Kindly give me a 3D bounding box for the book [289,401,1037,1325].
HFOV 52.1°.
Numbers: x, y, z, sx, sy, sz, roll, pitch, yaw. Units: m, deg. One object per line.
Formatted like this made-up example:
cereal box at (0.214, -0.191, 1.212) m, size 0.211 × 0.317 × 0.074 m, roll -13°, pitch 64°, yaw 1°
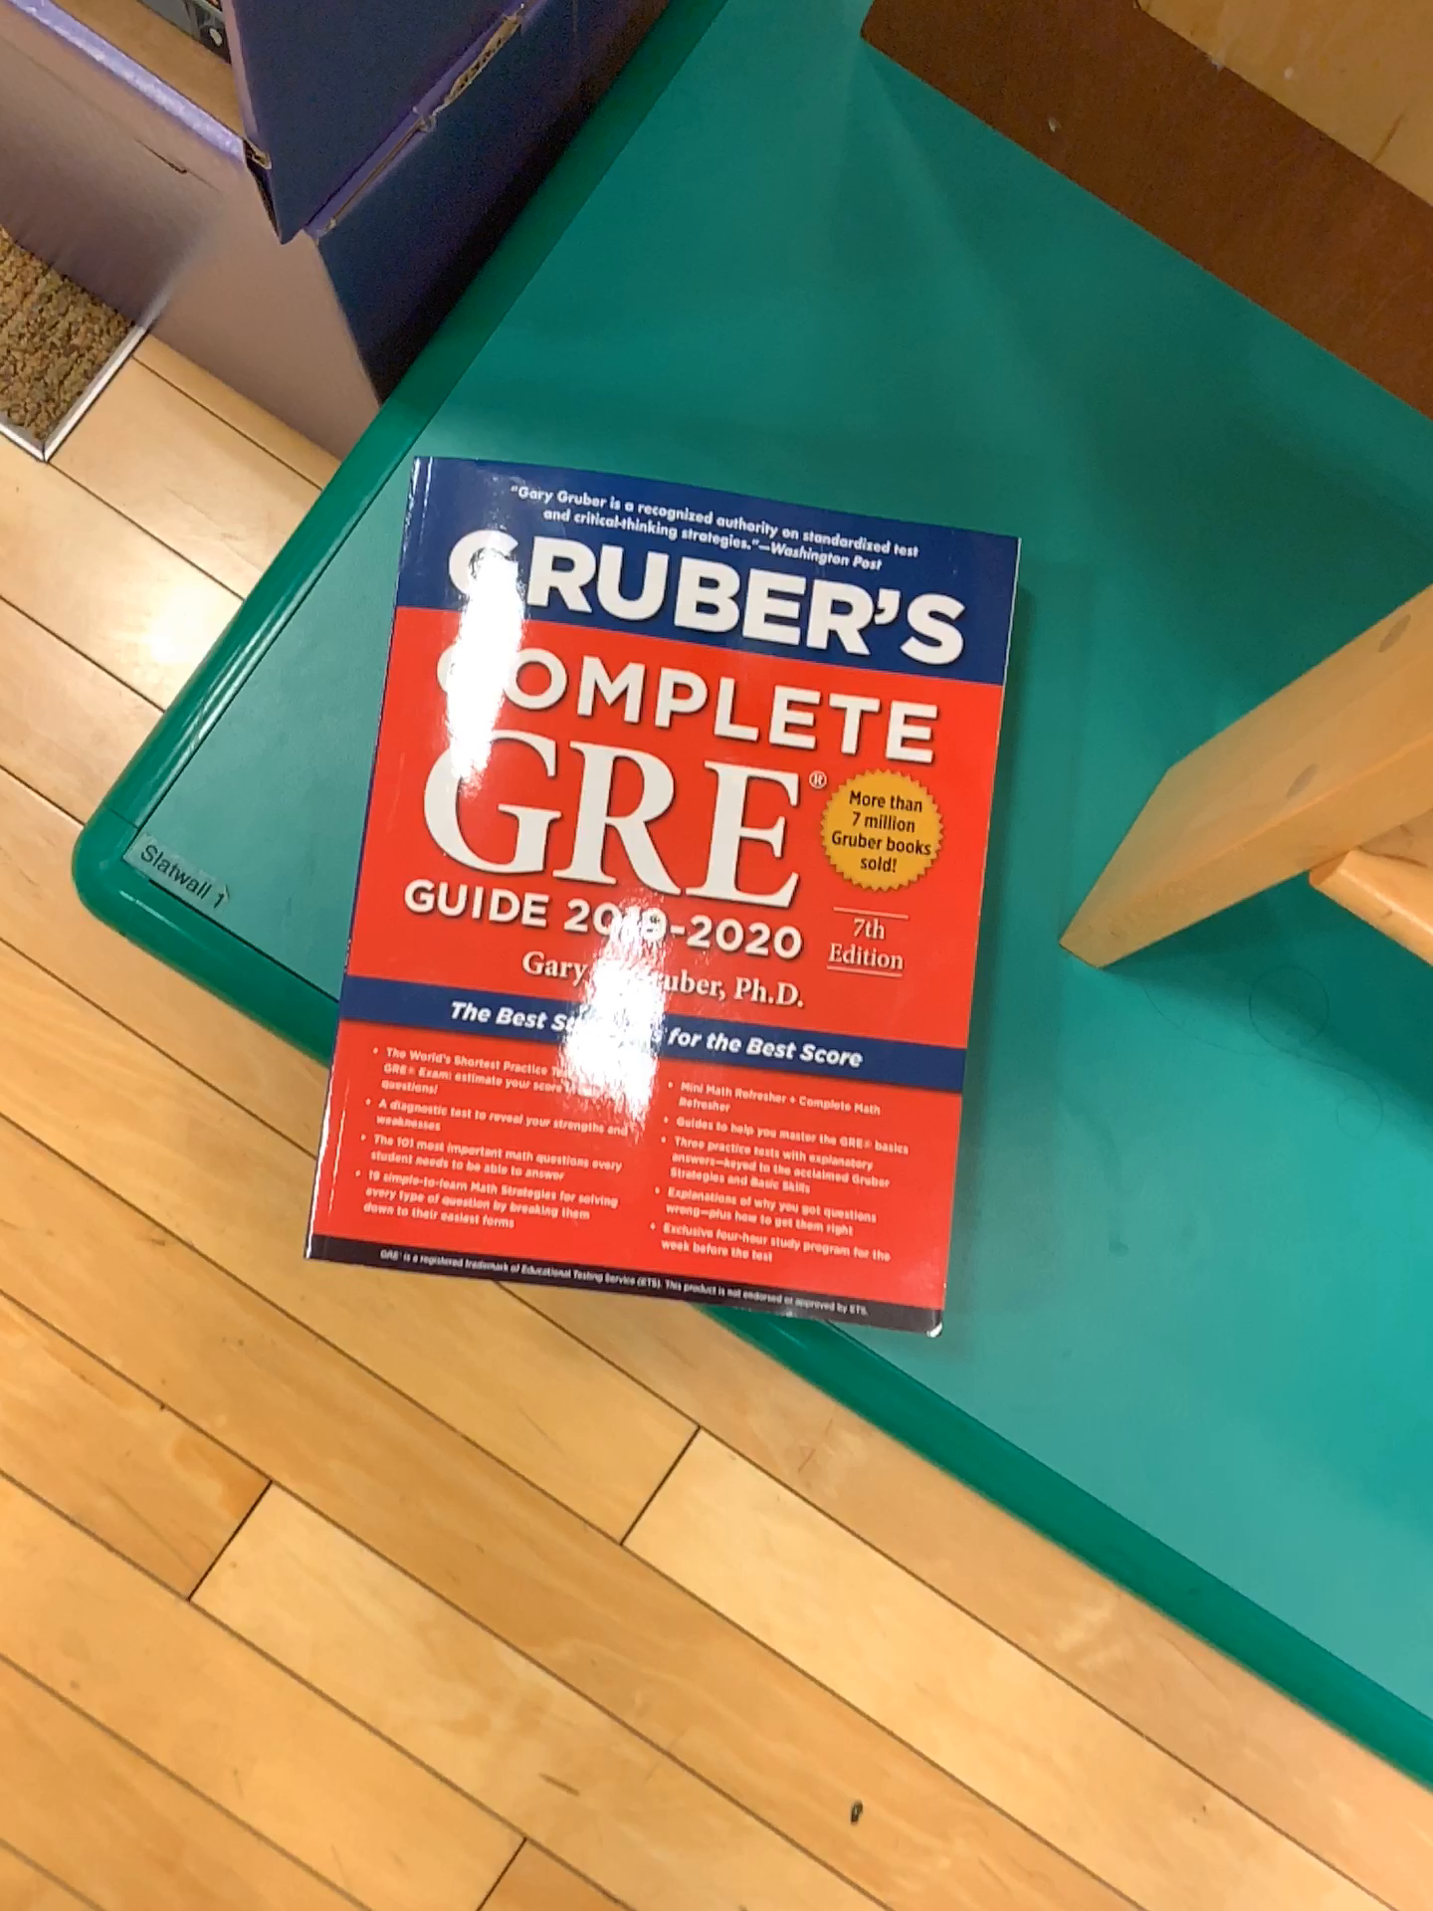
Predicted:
book at (-0.015, -0.032, 0.517) m, size 0.220 × 0.040 × 0.290 m, roll 7°, pitch 86°, yaw -3°
